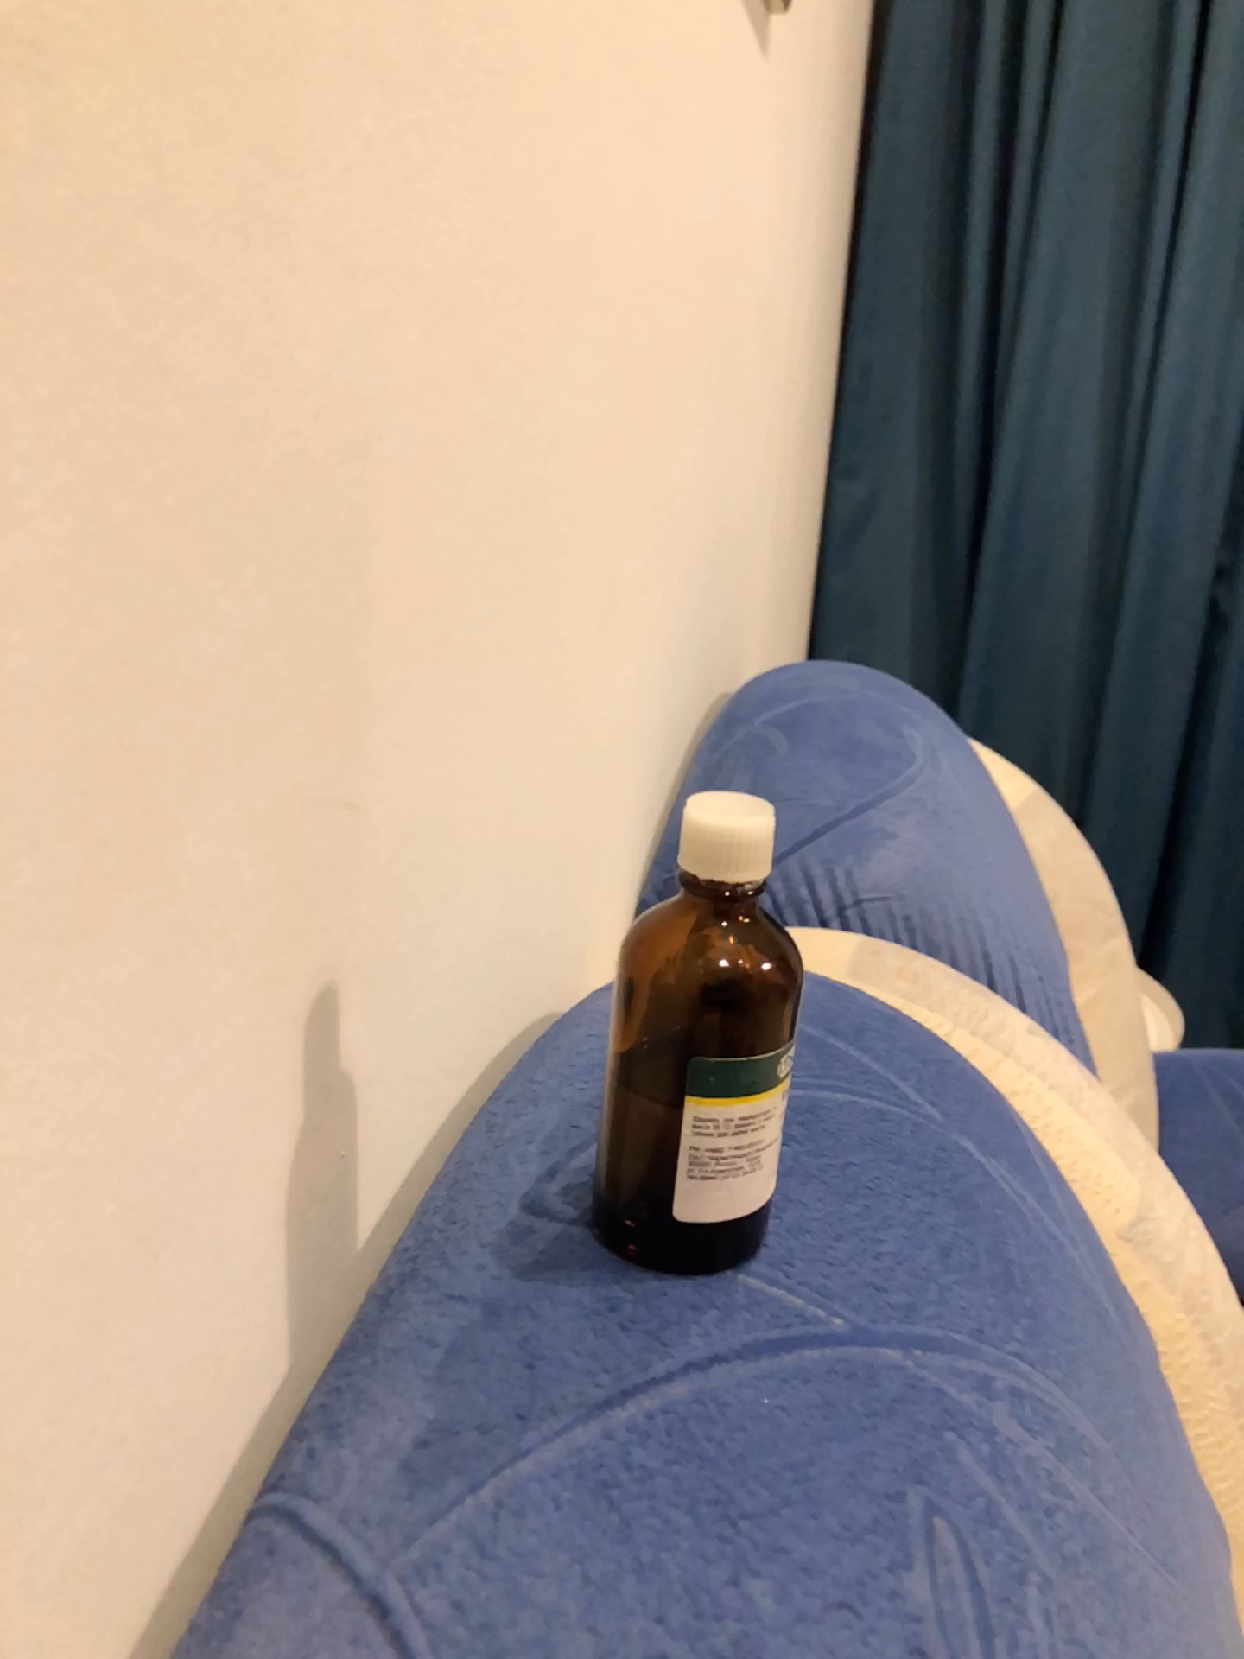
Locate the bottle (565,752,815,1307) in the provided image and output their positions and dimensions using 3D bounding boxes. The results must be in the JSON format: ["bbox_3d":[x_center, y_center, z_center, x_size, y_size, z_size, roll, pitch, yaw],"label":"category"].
[{"bbox_3d":[0.014,0.040,0.284,0.040,0.100,0.045,6,17,7],"label":"bottle"}]
